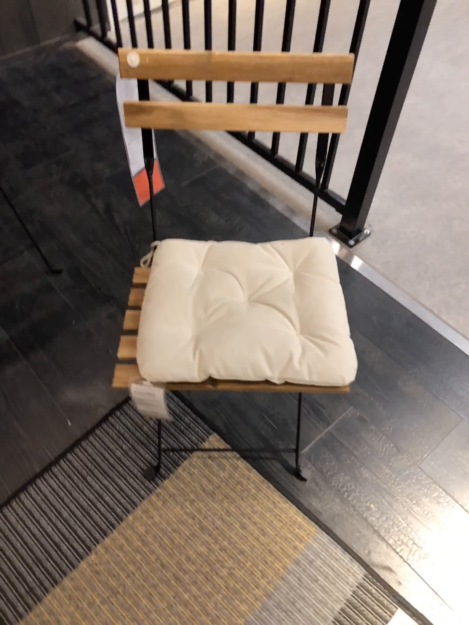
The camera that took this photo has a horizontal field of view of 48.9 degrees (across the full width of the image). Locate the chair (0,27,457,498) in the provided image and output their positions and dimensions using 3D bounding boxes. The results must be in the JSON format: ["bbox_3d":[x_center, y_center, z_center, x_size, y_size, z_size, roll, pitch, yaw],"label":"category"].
[{"bbox_3d":[-0.013,-0.015,0.947,0.450,0.758,0.461,1,53,-1],"label":"chair"}]
